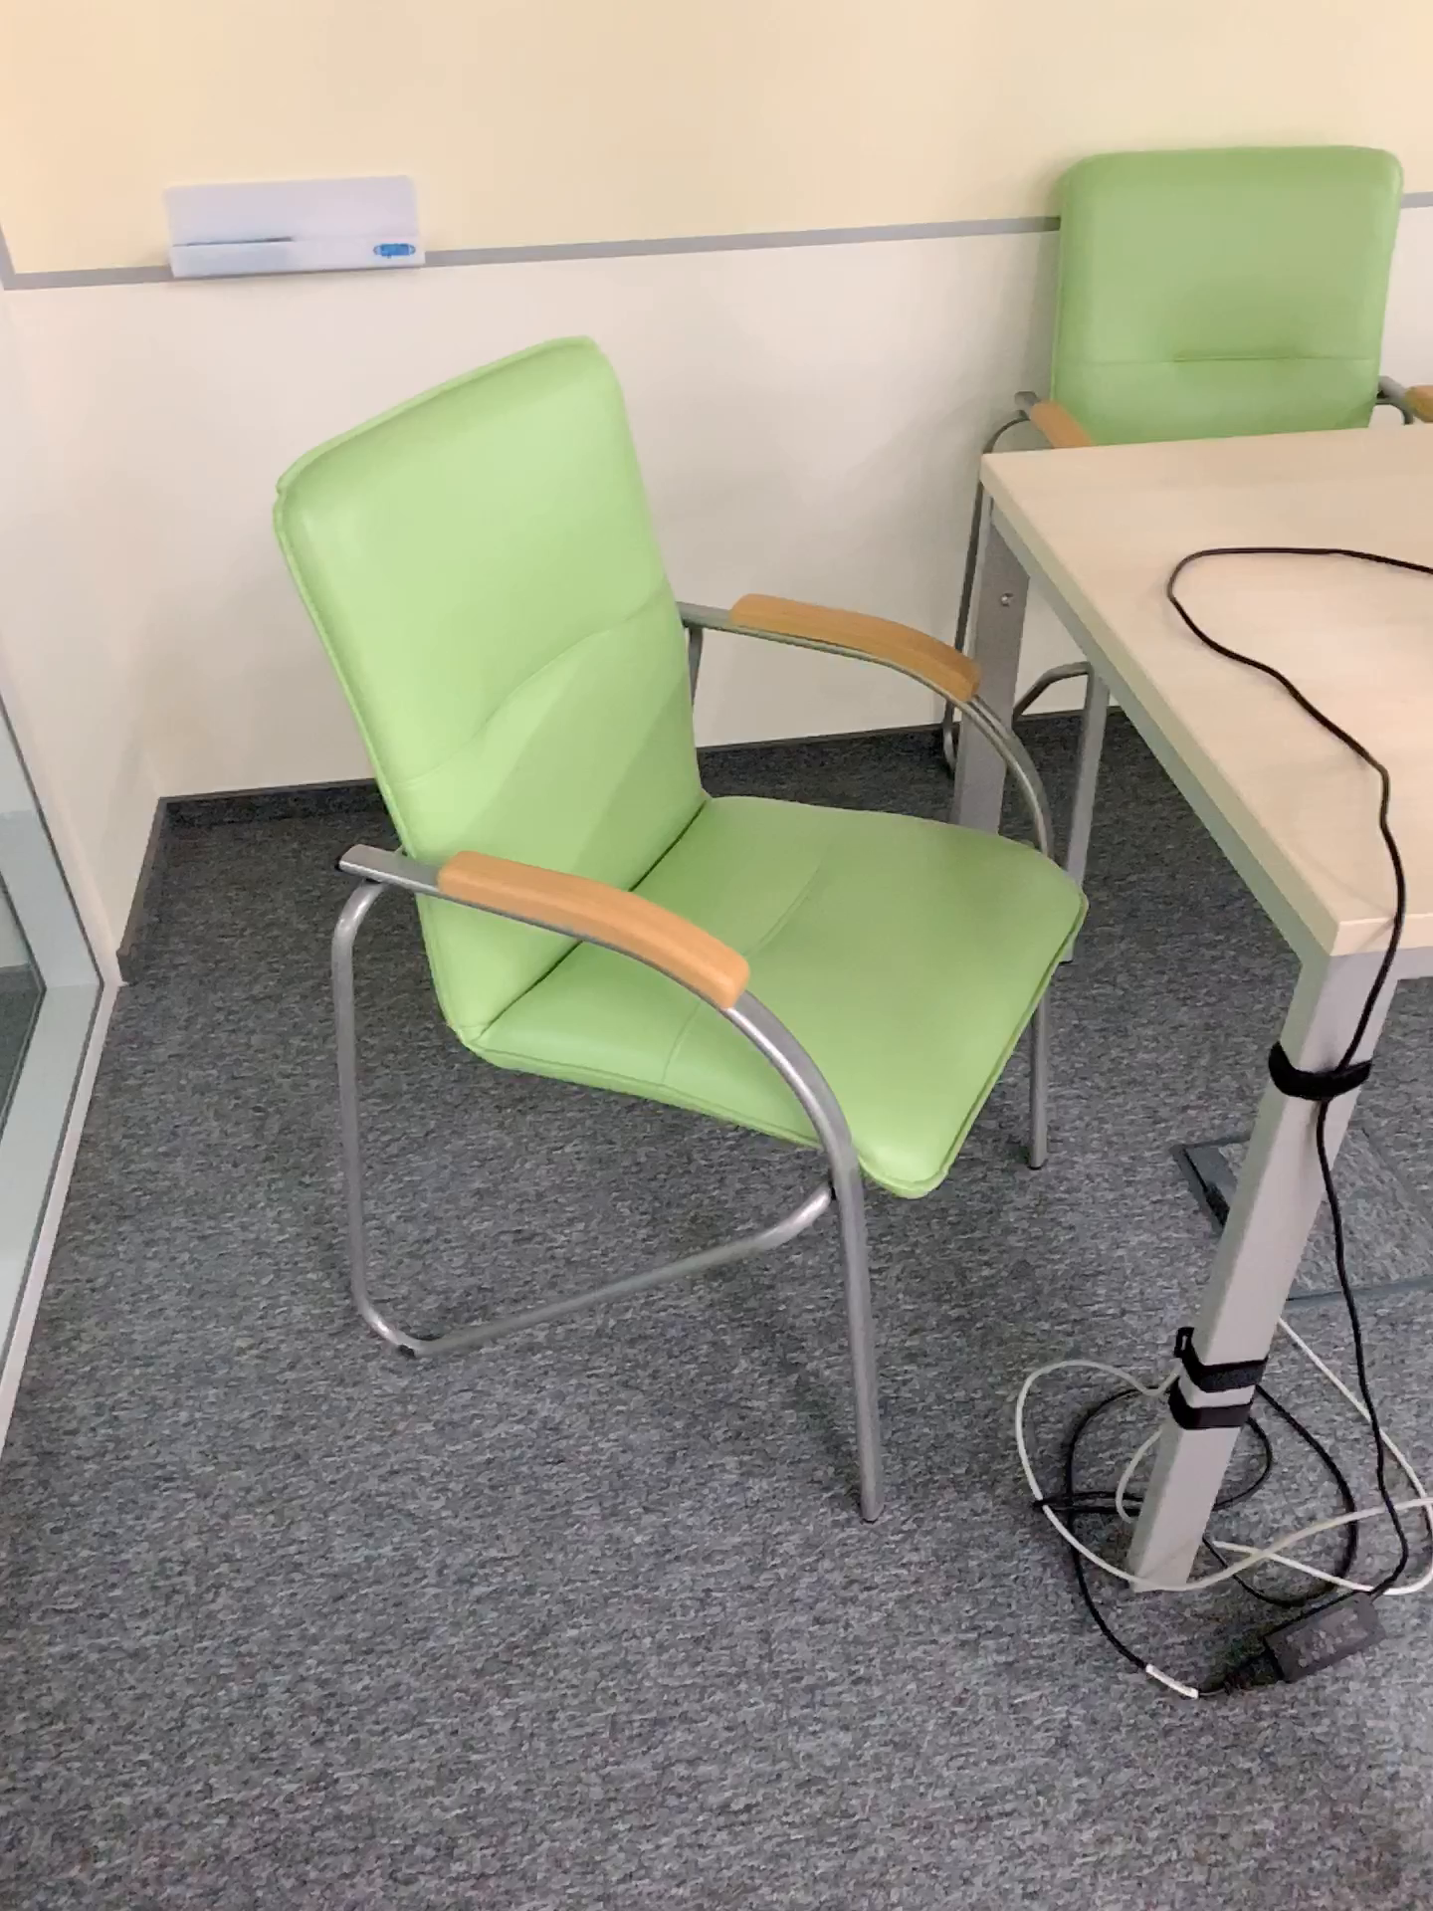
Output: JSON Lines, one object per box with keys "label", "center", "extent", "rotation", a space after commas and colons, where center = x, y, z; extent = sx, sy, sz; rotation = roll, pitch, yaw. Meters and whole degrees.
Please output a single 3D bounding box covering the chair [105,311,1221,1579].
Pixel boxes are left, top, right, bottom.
{"label": "chair", "center": [0.005, -0.046, 1.450], "extent": [0.651, 0.895, 0.673], "rotation": [18, 42, 22]}
